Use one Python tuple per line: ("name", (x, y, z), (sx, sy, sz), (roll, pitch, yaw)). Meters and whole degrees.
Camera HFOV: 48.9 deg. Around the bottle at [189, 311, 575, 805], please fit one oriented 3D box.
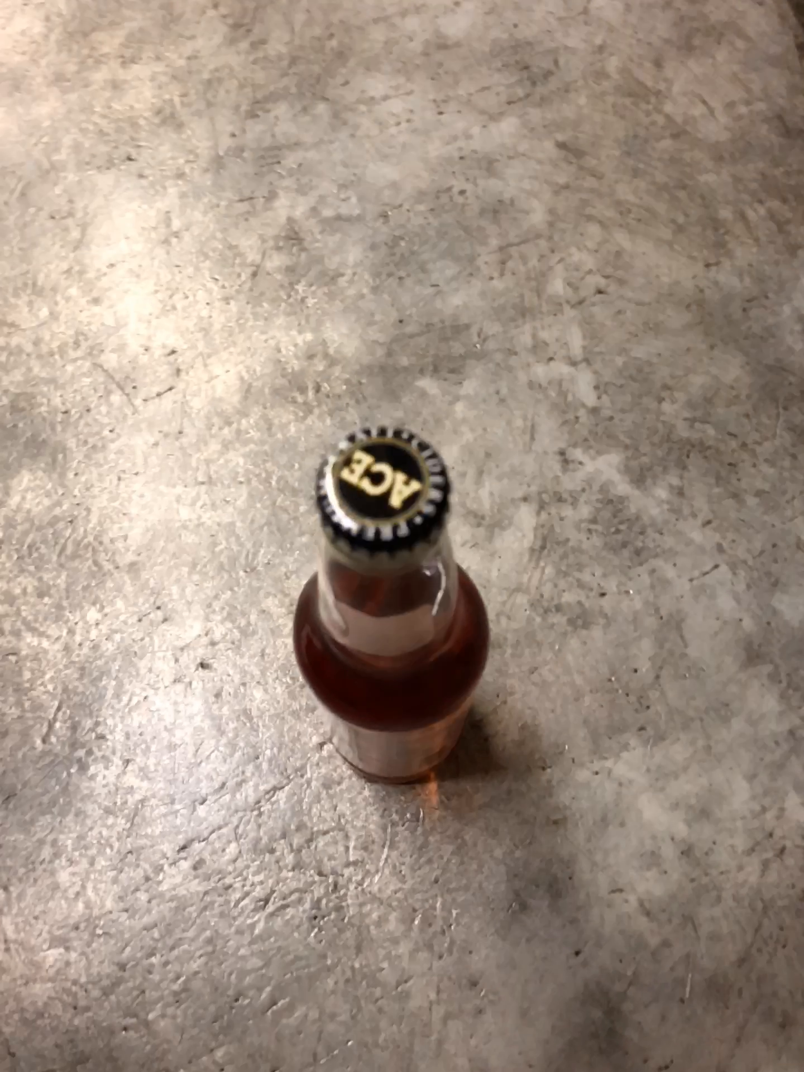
("bottle", (-0.005, 0.031, 0.274), (0.060, 0.222, 0.061), (0, 67, 0))
